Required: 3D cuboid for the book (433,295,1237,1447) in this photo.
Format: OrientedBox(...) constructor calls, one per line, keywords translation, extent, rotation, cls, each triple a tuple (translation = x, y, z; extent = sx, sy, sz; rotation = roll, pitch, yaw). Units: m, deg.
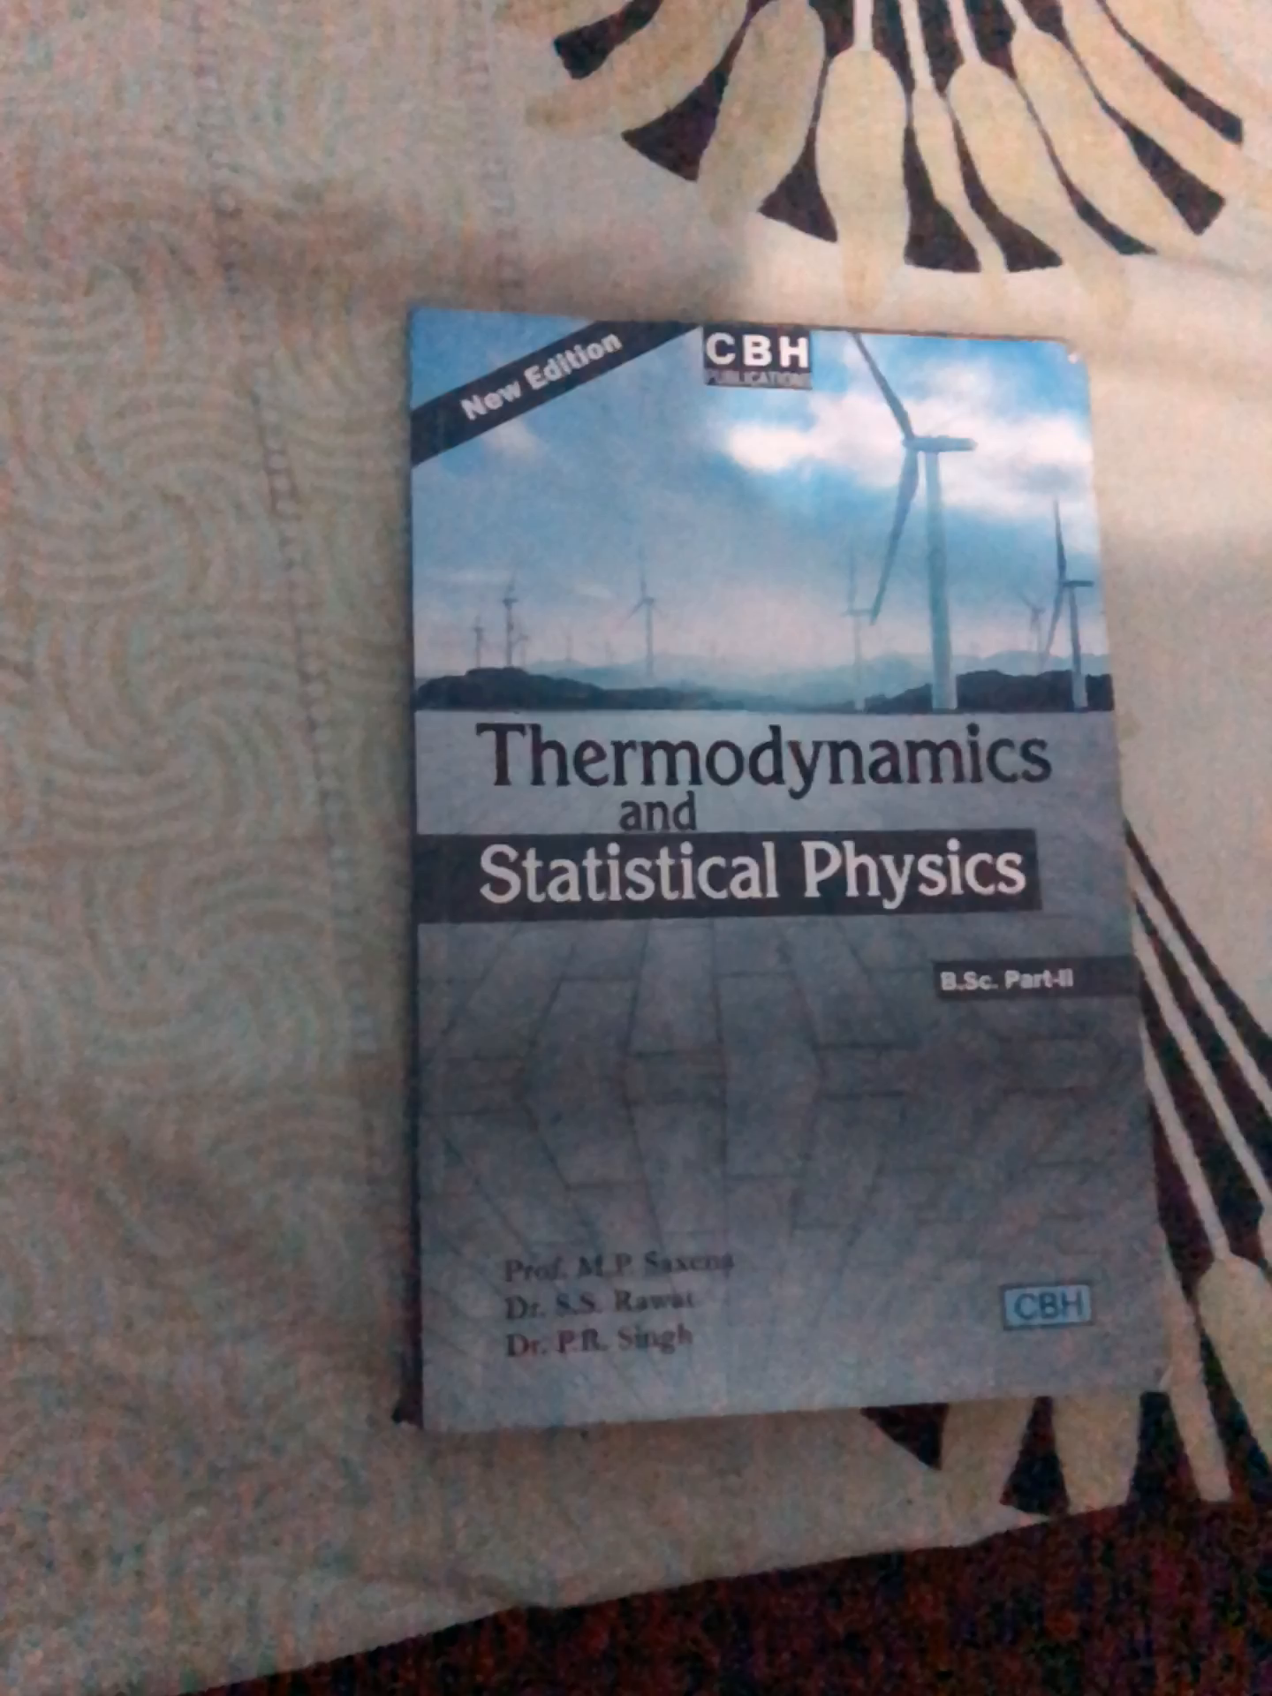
OrientedBox(translation=(0.042, 0.001, 0.323), extent=(0.170, 0.030, 0.240), rotation=(-1, 86, -8), cls="book")
